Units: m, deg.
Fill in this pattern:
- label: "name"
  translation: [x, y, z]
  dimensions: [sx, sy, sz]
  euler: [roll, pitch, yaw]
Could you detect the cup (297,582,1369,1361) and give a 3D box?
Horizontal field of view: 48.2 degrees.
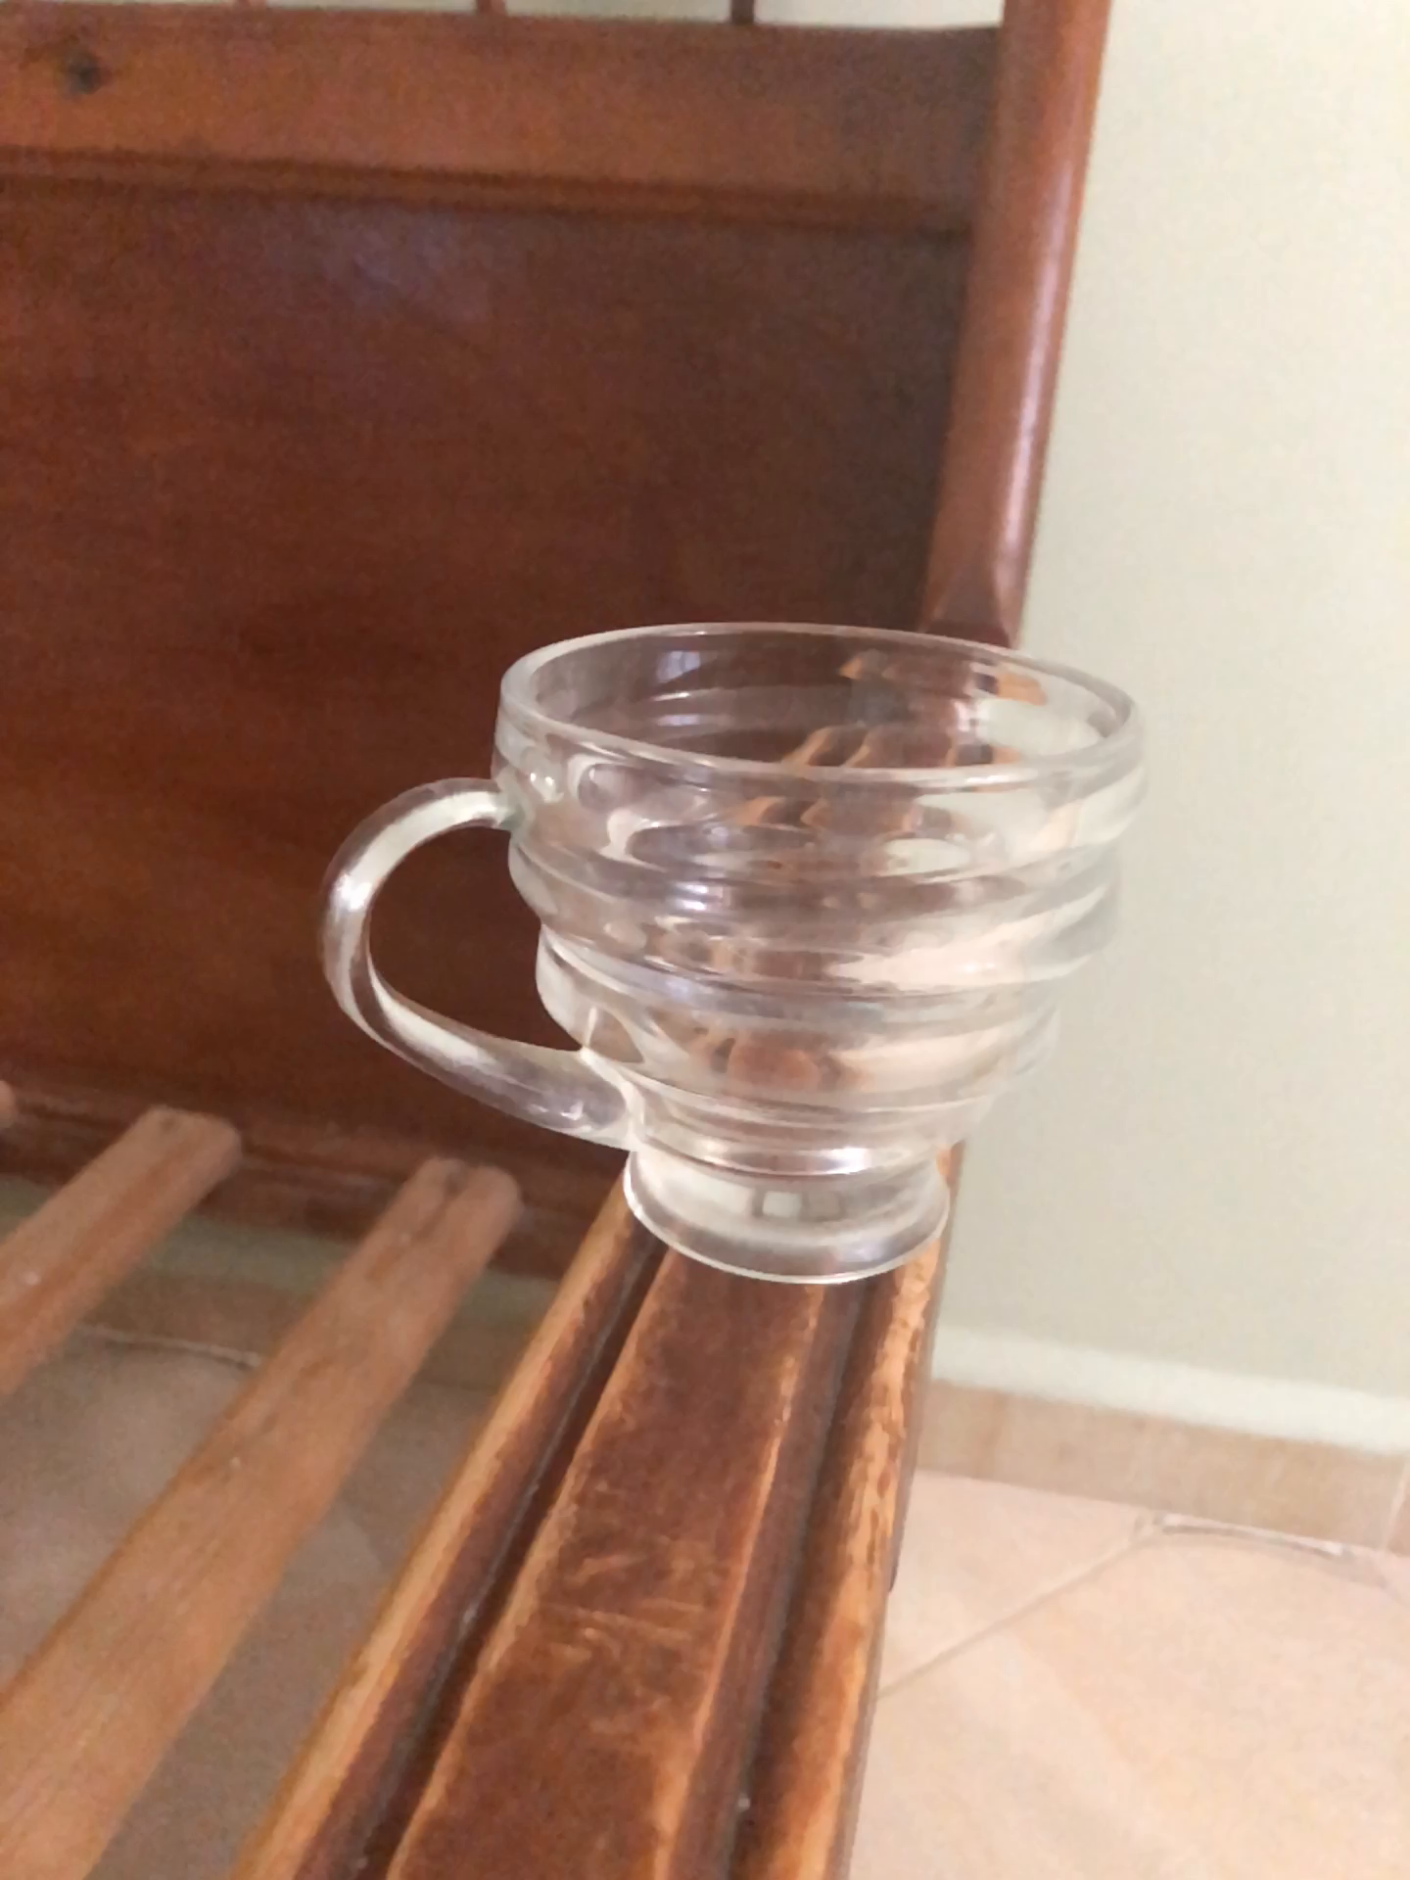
- label: "cup"
  translation: [0.006, -0.003, 0.194]
  dimensions: [0.106, 0.065, 0.076]
  euler: [-2, 23, -13]
